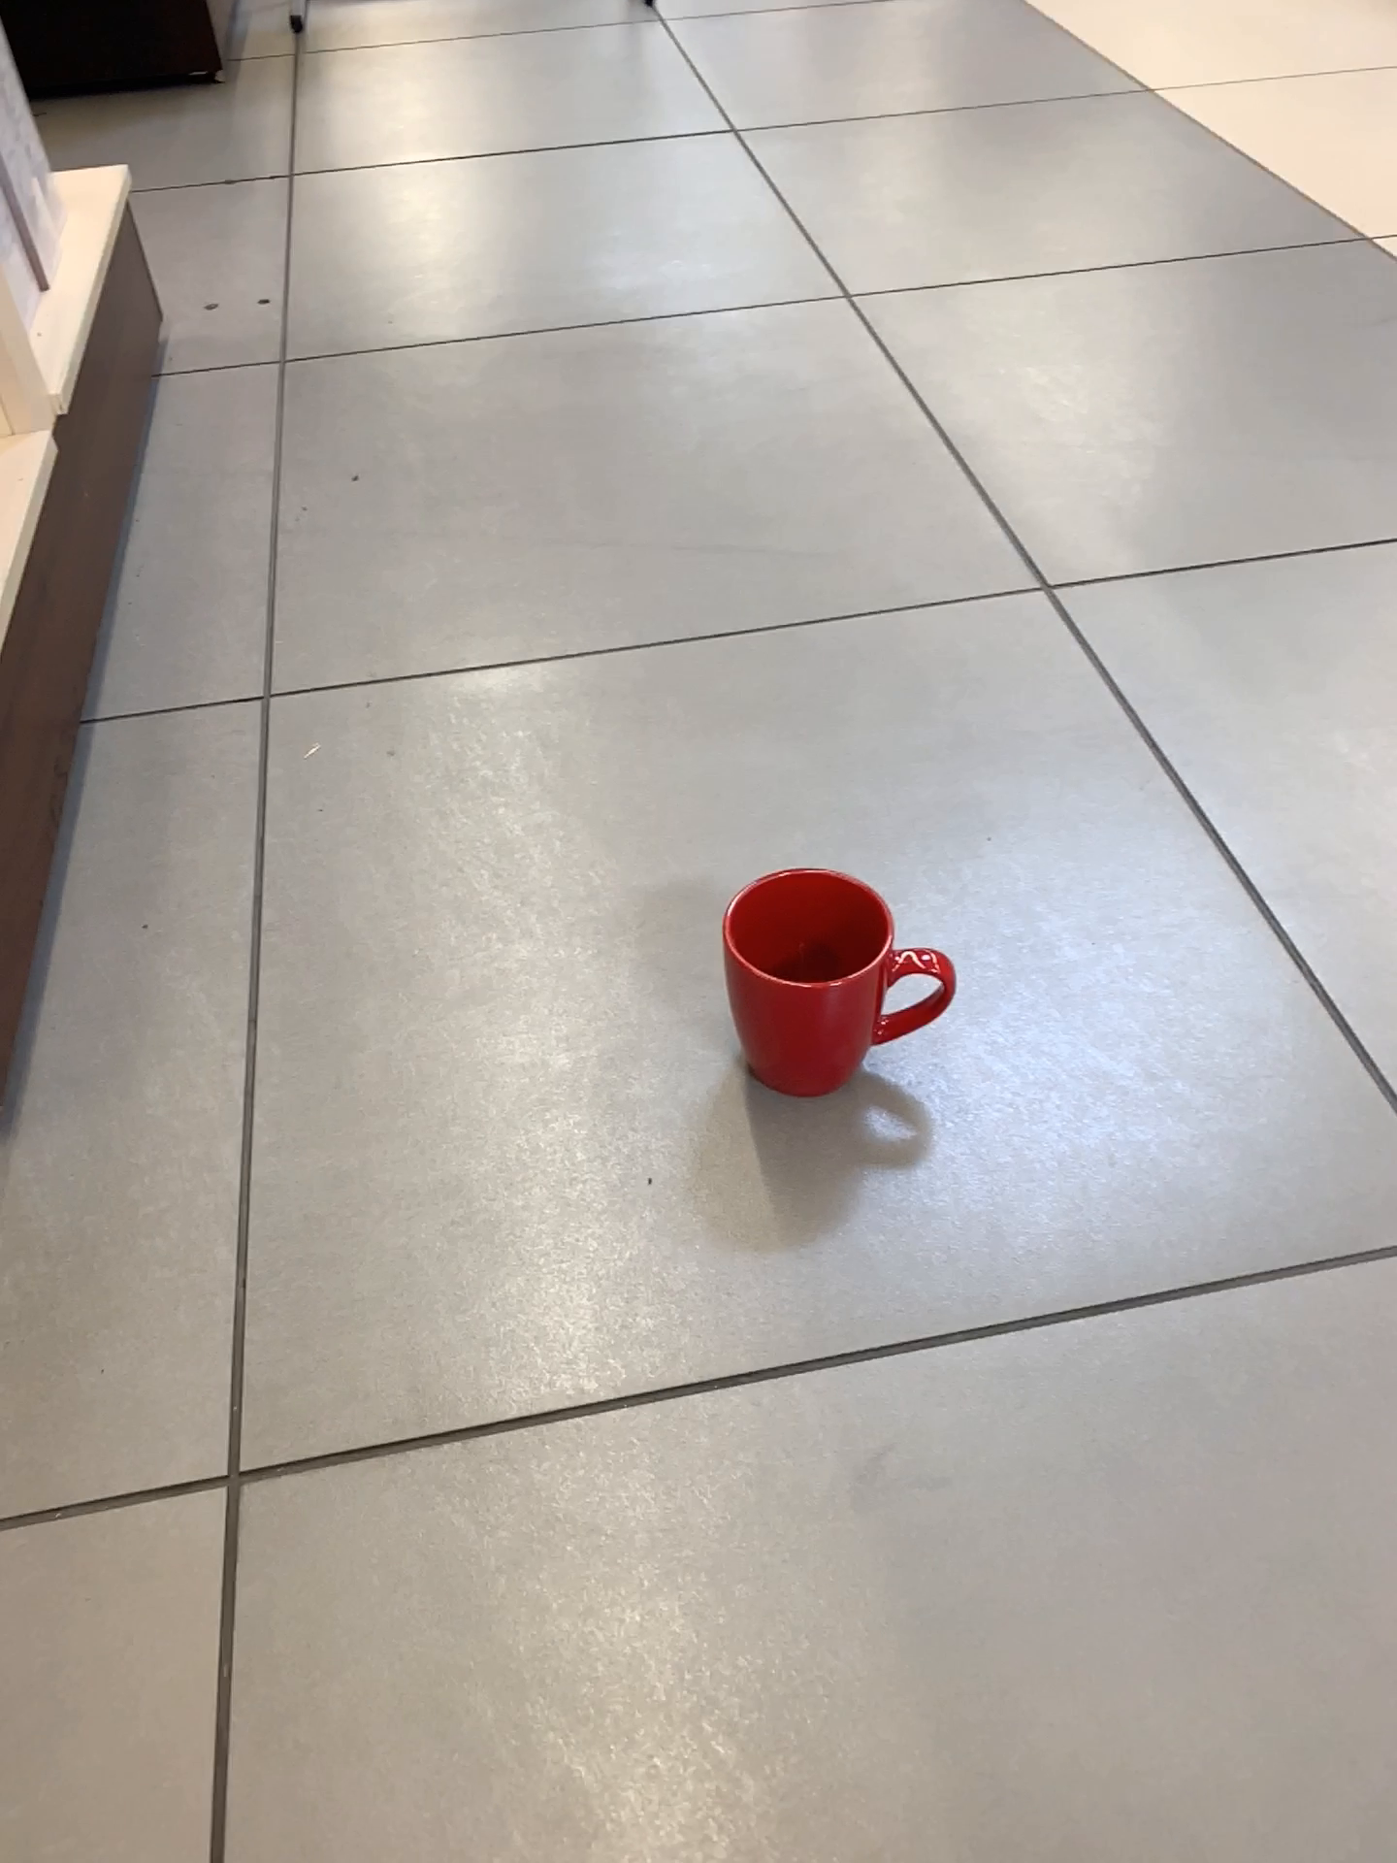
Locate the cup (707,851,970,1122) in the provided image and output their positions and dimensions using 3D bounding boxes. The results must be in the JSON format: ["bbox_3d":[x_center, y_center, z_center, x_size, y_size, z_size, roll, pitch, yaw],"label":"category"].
[{"bbox_3d":[0.072,0.027,0.729,0.120,0.090,0.090,5,45,9],"label":"cup"}]
